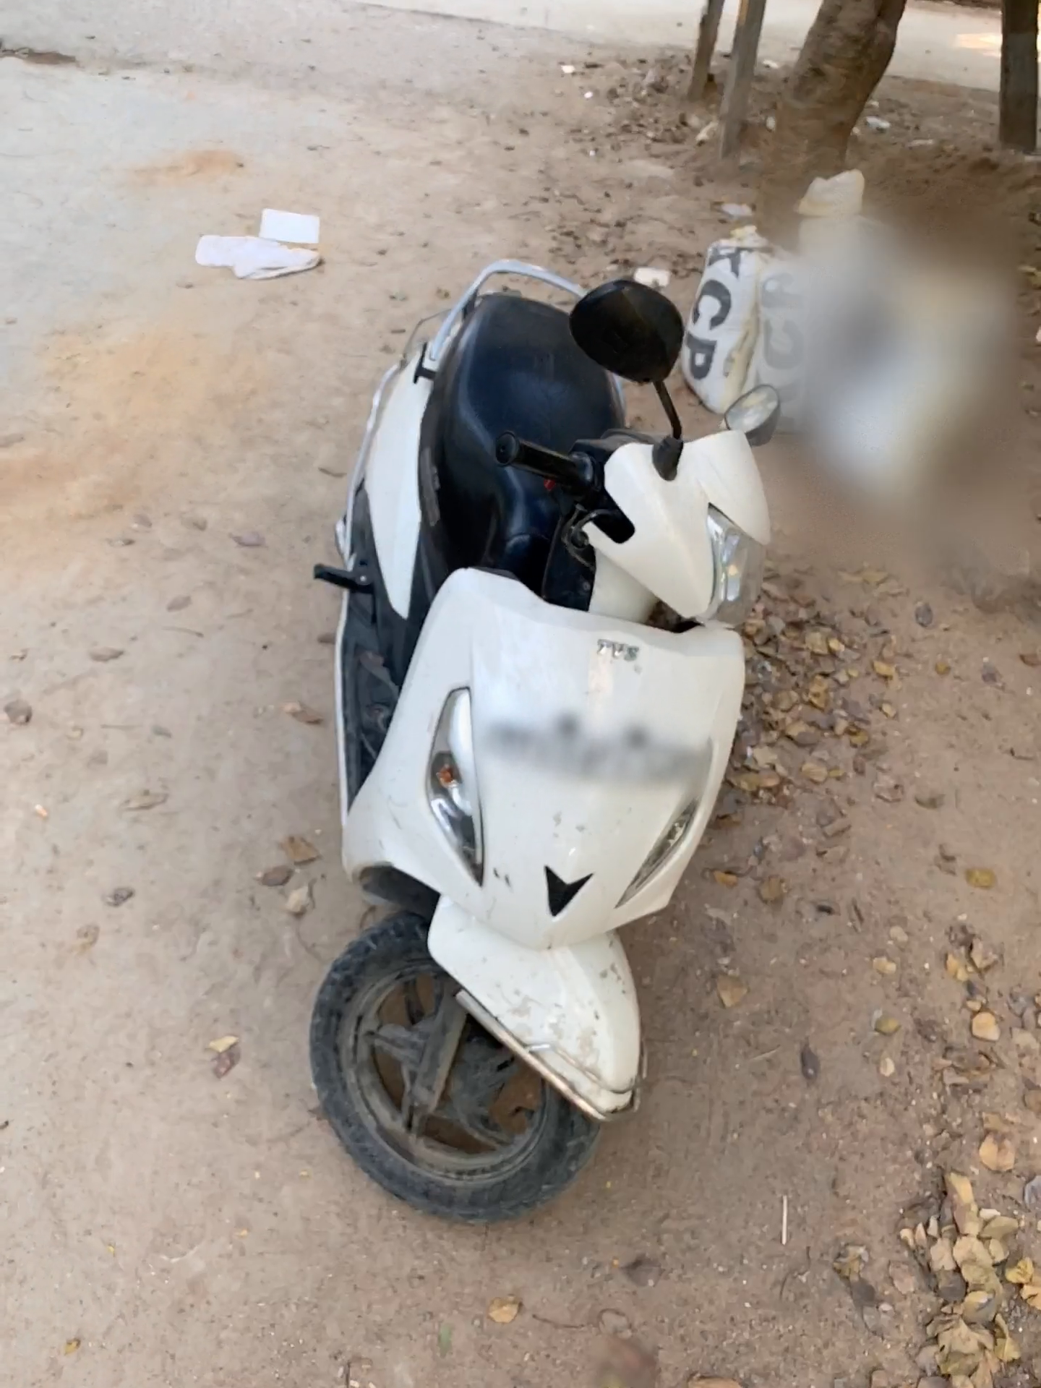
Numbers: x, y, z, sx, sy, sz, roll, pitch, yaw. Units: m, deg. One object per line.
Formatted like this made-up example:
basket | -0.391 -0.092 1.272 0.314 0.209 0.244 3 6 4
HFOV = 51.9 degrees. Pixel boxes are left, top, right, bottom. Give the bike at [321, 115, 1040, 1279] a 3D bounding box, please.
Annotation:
bike | 0.078 -0.086 1.745 0.686 1.067 1.465 -2 44 -14
